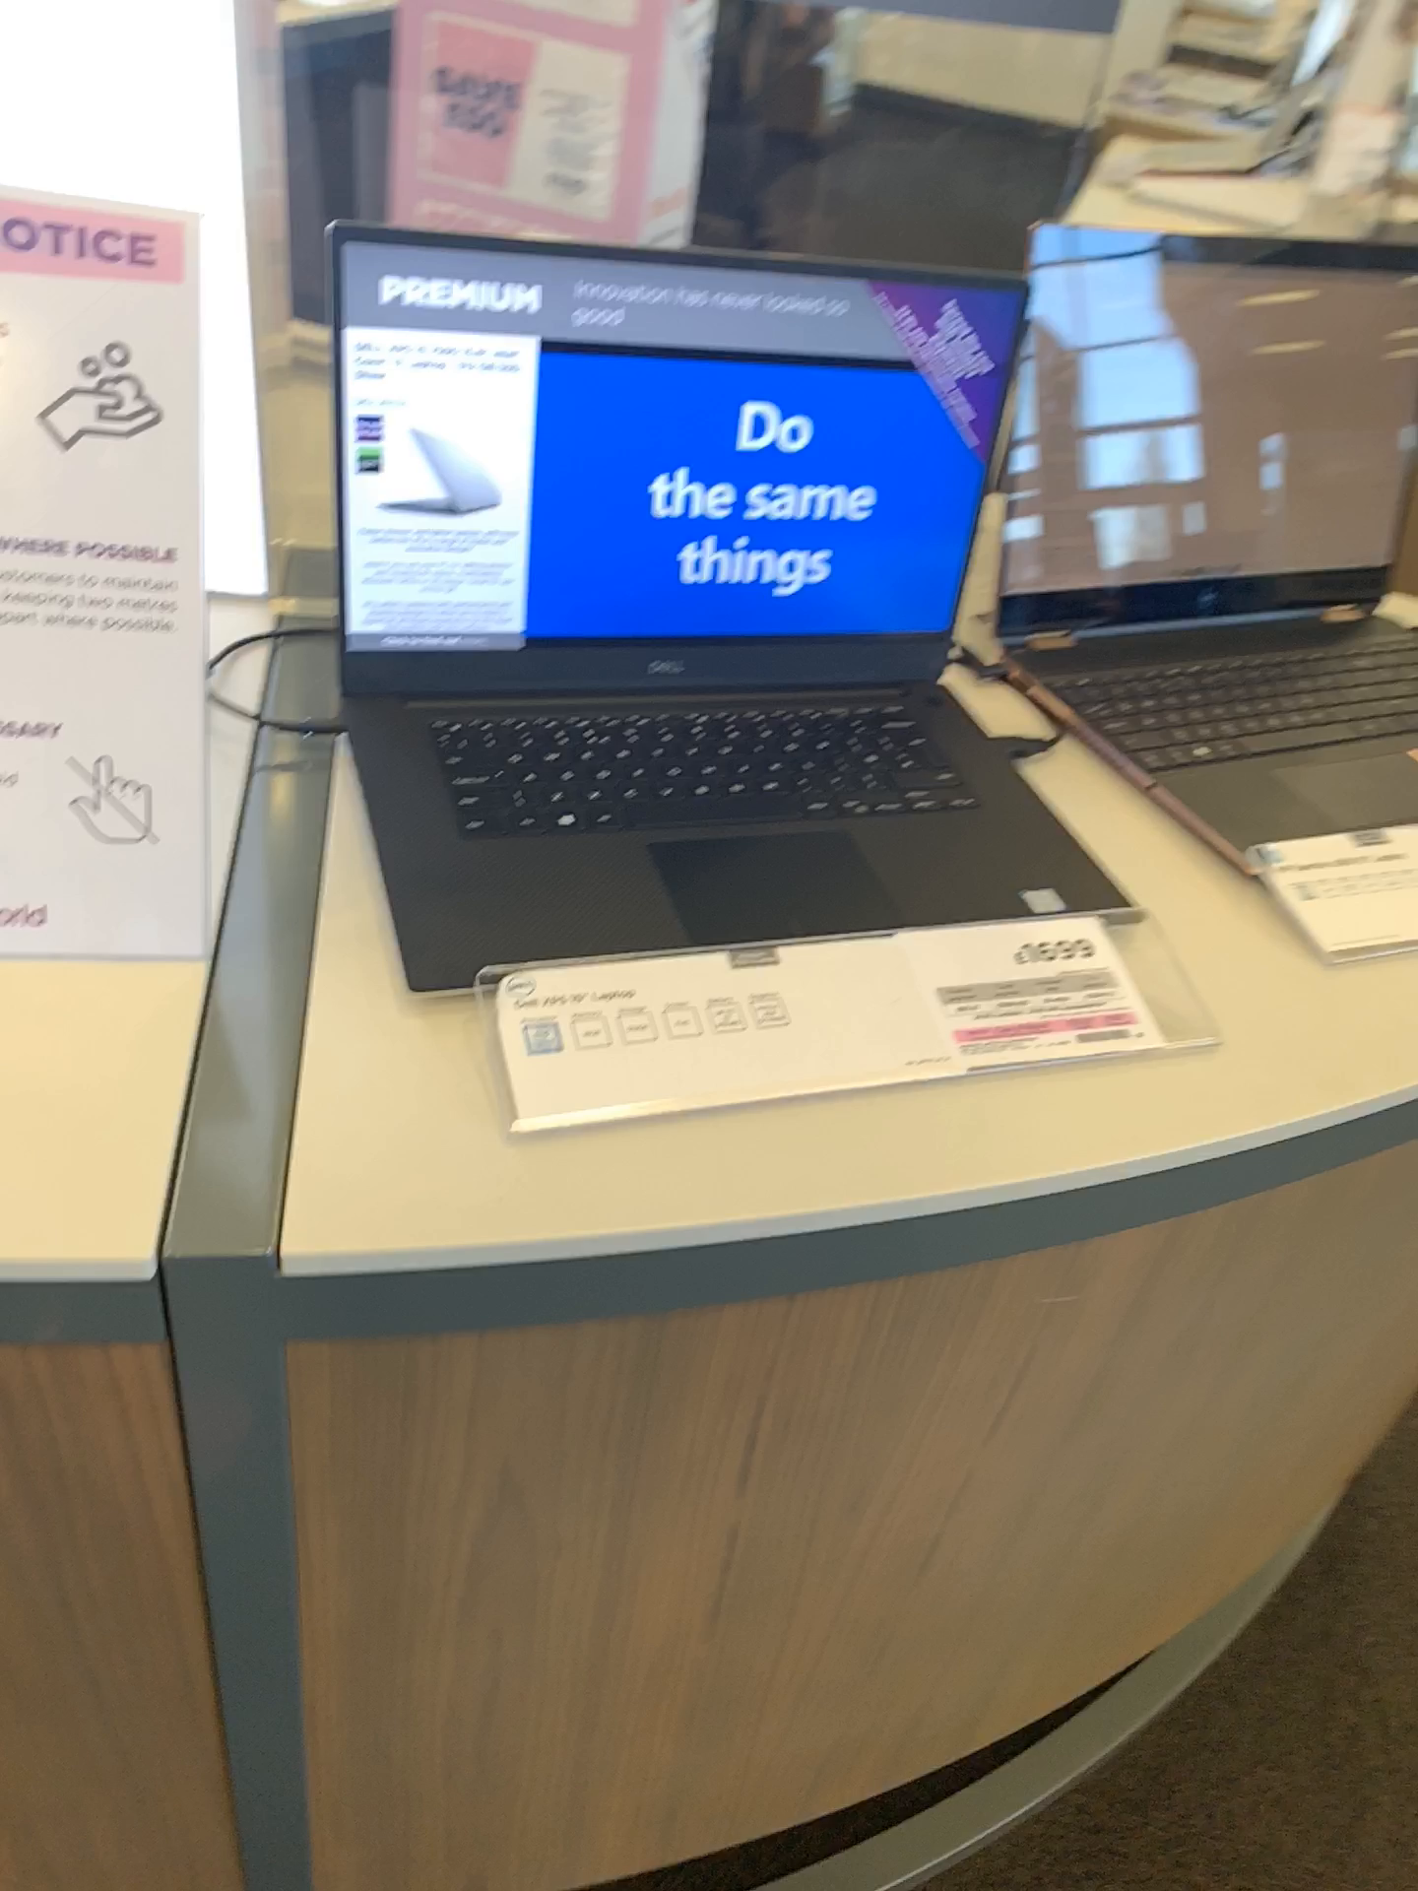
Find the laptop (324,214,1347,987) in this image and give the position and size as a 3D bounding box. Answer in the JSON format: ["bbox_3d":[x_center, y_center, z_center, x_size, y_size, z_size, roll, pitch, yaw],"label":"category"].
[{"bbox_3d":[0.024,-0.163,0.662,0.351,0.224,0.255,-5,40,-20],"label":"laptop"}]
